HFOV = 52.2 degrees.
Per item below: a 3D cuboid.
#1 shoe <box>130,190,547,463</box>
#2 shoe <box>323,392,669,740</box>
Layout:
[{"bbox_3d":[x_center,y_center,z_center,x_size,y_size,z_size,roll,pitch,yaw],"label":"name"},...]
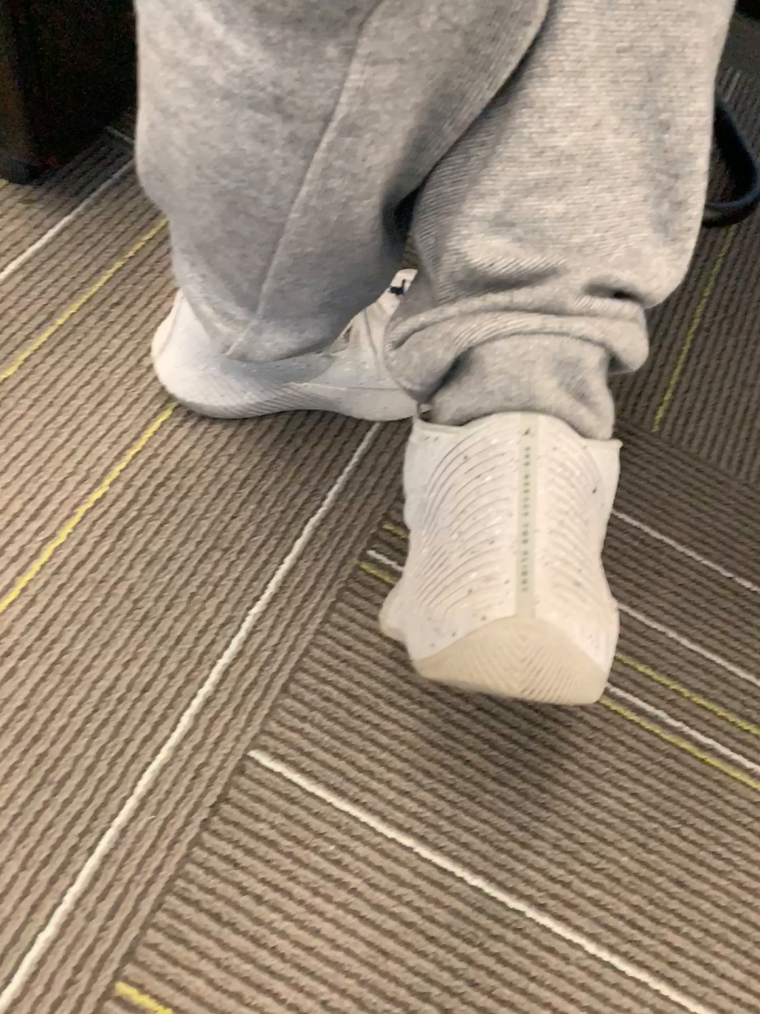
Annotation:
[{"bbox_3d":[-0.041,-0.145,0.621,0.280,0.149,0.130,-8,65,-17],"label":"shoe"},{"bbox_3d":[0.057,0.036,0.432,0.120,0.280,0.120,5,84,6],"label":"shoe"}]
